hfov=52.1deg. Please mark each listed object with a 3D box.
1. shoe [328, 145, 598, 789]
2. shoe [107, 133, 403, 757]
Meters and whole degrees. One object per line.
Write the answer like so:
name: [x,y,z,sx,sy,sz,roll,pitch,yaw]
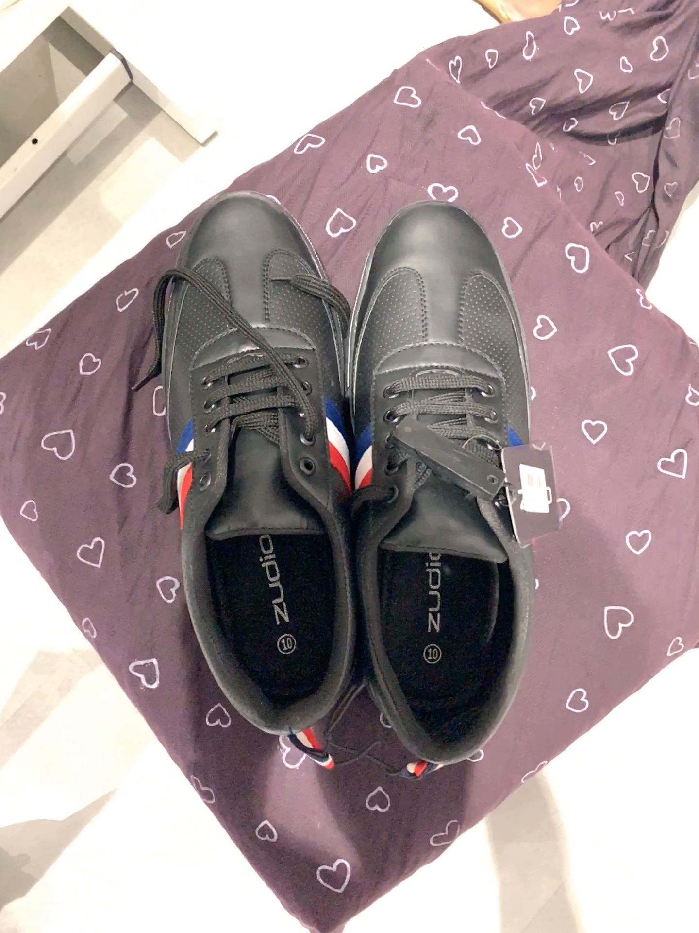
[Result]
shoe: [0.049,-0.003,0.374,0.110,0.080,0.300,-2,82,0]
shoe: [-0.052,-0.014,0.409,0.120,0.090,0.310,-7,82,0]
